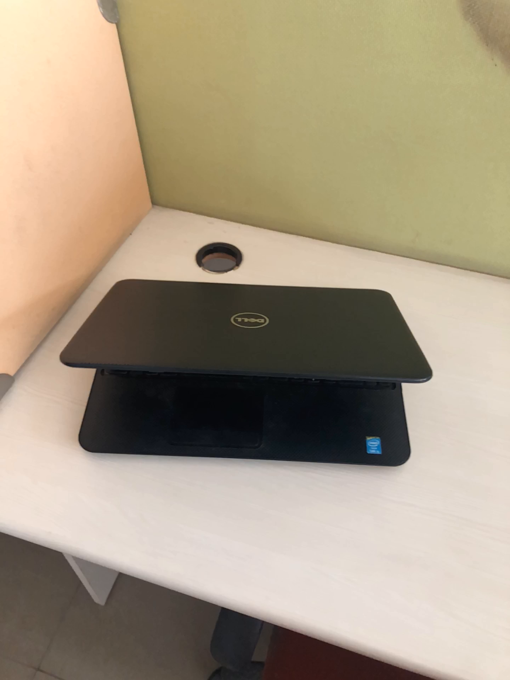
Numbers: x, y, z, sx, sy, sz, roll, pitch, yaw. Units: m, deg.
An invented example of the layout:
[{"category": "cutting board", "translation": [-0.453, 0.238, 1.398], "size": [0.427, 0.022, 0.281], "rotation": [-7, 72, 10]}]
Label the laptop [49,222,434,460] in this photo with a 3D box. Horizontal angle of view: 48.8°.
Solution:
[{"category": "laptop", "translation": [-0.009, -0.007, 0.651], "size": [0.366, 0.106, 0.248], "rotation": [2, 51, 1]}]
